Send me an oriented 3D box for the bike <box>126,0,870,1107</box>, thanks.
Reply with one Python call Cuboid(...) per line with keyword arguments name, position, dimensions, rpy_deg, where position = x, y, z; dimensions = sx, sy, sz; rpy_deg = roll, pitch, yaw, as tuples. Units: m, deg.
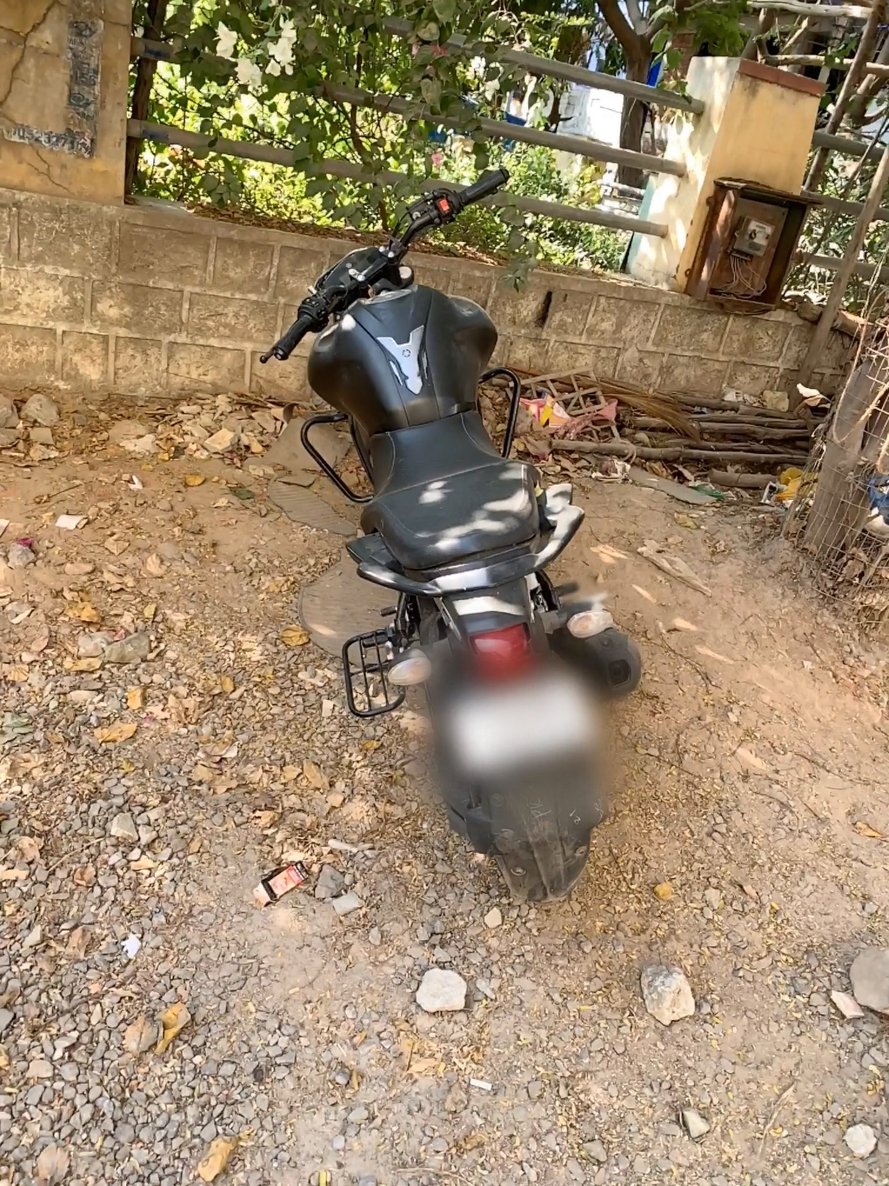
Cuboid(name="bike", position=(-0.234, -0.295, 2.008), dimensions=(0.819, 1.499, 1.763), rpy_deg=(3, 32, -20))
